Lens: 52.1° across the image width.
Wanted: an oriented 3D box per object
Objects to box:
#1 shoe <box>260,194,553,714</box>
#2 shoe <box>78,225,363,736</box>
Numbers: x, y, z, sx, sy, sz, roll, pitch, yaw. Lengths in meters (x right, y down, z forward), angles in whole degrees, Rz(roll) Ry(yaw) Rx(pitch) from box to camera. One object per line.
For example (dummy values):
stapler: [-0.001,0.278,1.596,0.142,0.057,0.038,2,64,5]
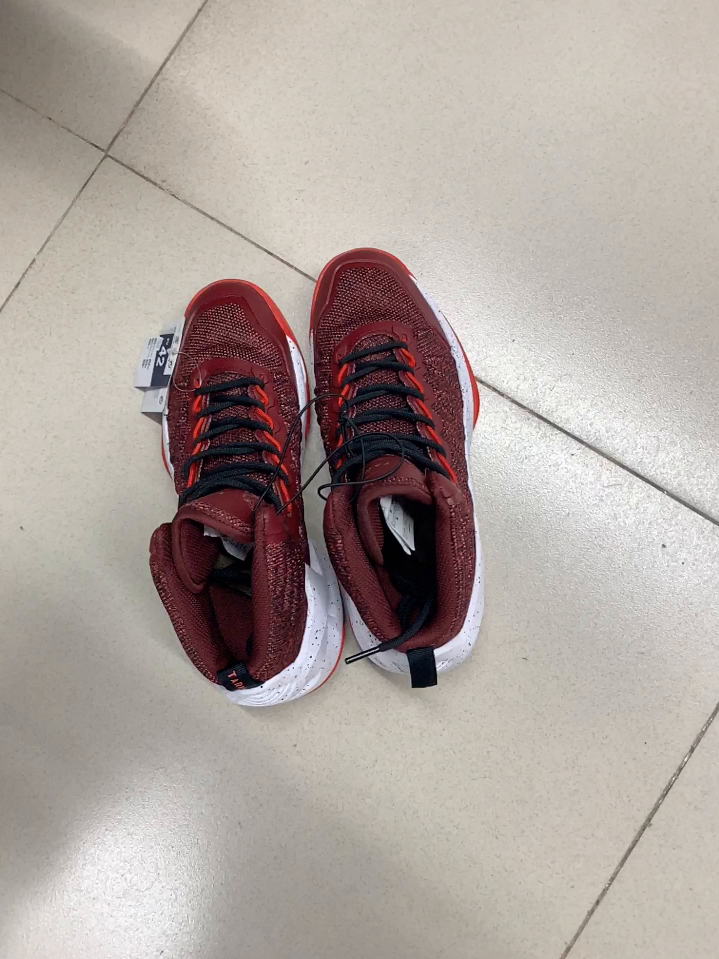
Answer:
shoe: [0.029,-0.011,0.455,0.120,0.110,0.270,-9,84,7]
shoe: [-0.084,0.003,0.477,0.120,0.110,0.280,-9,84,7]
